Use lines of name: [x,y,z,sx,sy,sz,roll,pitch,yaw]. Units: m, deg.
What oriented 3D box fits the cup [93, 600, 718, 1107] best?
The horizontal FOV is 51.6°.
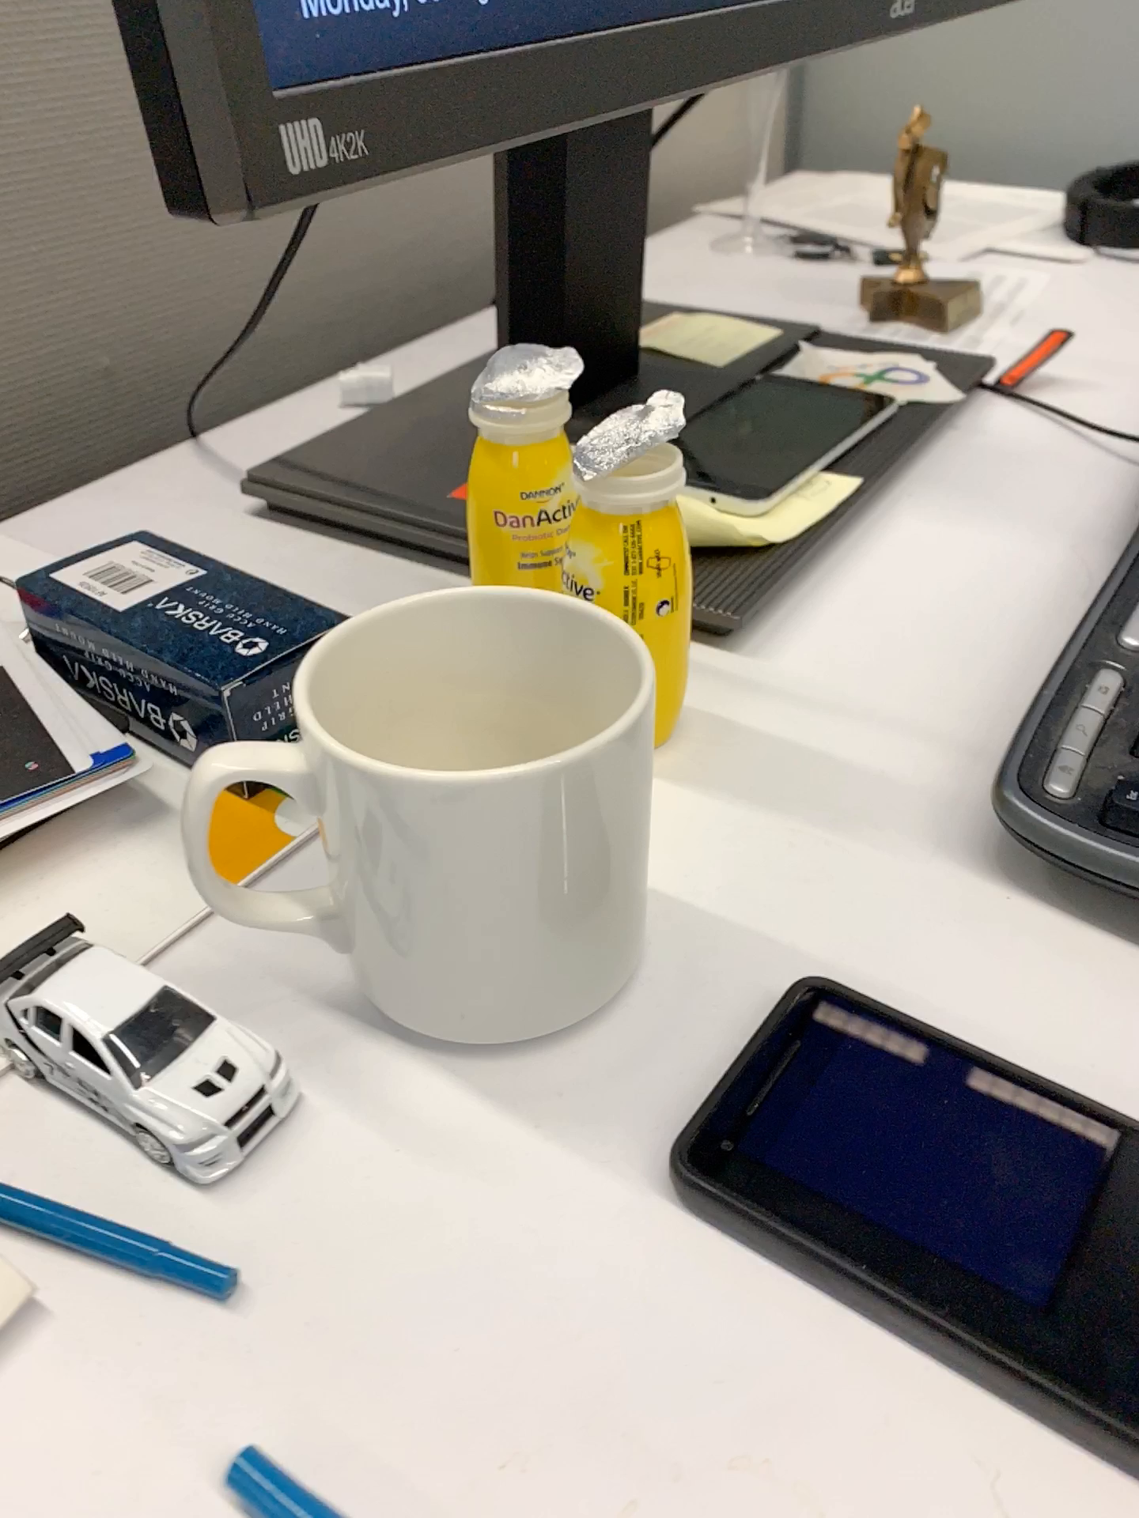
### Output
cup: [-0.035,0.020,0.278,0.120,0.079,0.070,-6,36,-7]
